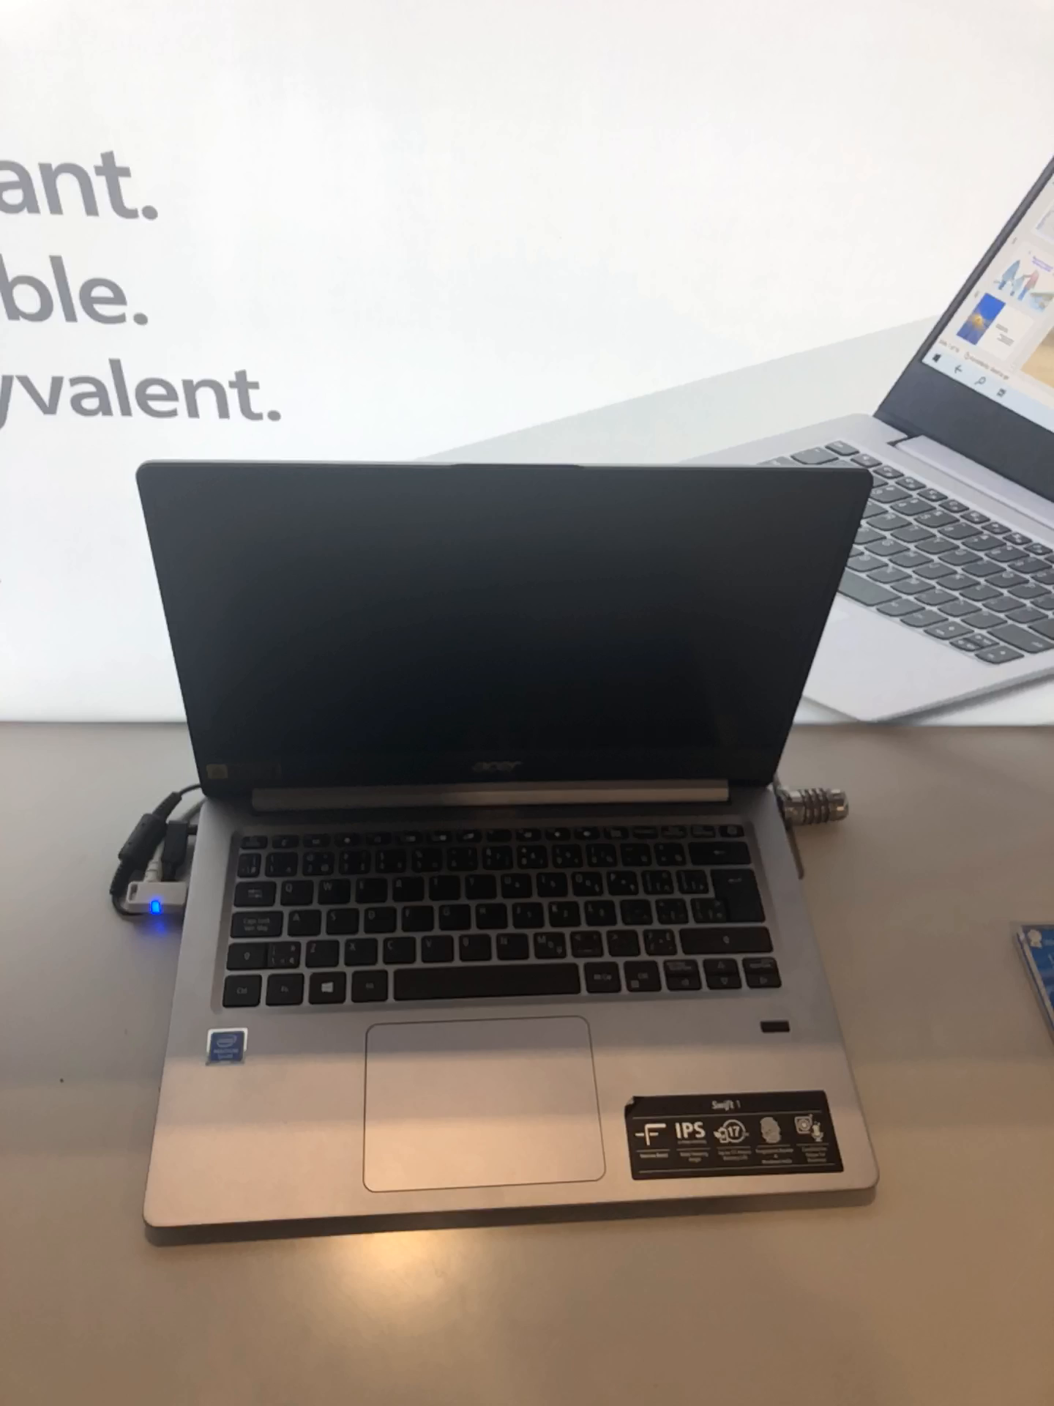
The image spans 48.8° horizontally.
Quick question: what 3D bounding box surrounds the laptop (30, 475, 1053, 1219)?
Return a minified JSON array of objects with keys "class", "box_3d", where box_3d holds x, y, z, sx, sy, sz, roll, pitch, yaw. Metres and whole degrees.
[{"class":"laptop","box_3d":[-0.002,0.058,0.498,0.311,0.210,0.227,0,47,-6]}]
